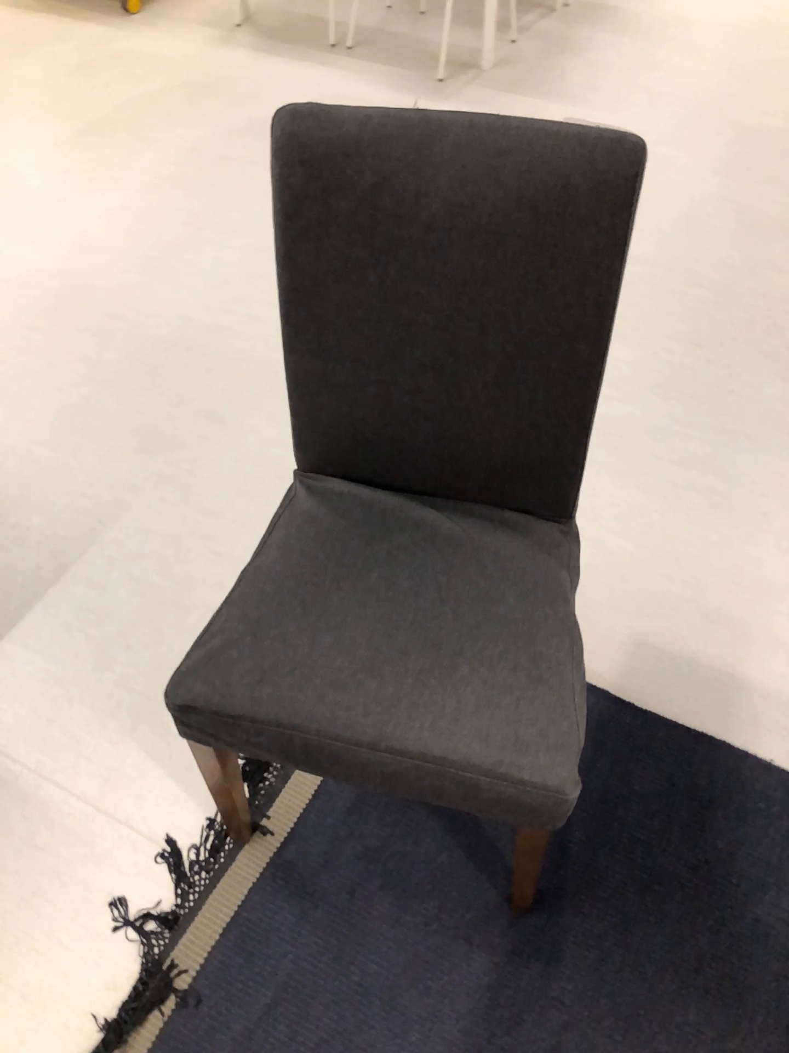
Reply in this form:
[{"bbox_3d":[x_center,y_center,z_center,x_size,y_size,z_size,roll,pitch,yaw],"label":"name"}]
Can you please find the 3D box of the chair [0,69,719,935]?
[{"bbox_3d":[0.015,0.038,1.146,0.540,0.964,0.553,11,51,11],"label":"chair"}]
